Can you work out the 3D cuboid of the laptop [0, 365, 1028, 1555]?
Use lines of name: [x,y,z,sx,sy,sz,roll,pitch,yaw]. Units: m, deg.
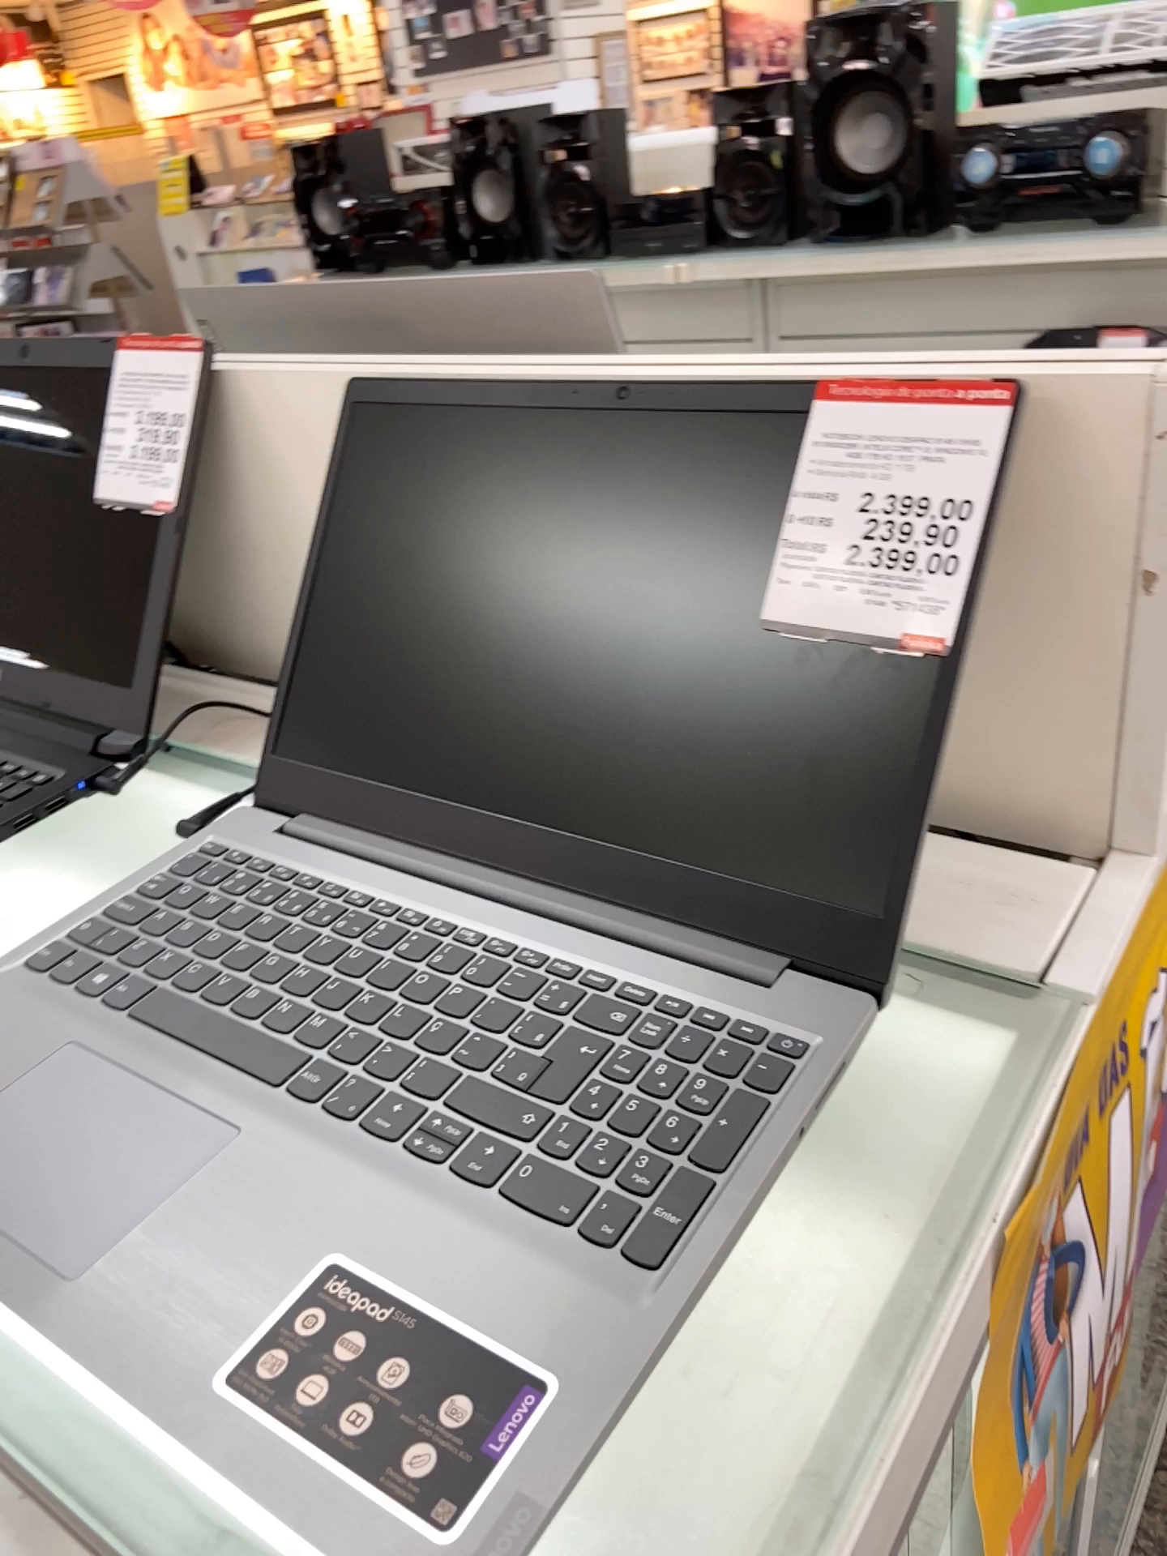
laptop: [-0.079,-0.010,0.473,0.370,0.192,0.403,13,37,34]
